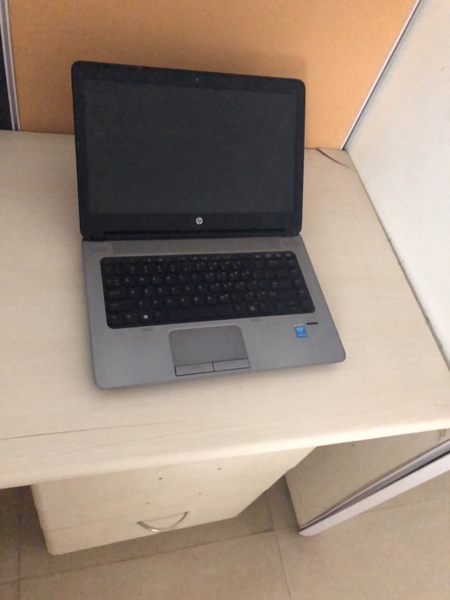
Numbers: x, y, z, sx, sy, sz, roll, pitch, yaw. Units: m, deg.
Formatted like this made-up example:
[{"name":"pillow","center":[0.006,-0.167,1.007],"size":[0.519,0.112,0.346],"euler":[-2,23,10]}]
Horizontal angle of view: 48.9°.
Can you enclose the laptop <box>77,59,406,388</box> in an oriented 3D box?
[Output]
[{"name":"laptop","center":[-0.012,-0.113,0.661],"size":[0.324,0.167,0.372],"euler":[-4,59,-19]}]
